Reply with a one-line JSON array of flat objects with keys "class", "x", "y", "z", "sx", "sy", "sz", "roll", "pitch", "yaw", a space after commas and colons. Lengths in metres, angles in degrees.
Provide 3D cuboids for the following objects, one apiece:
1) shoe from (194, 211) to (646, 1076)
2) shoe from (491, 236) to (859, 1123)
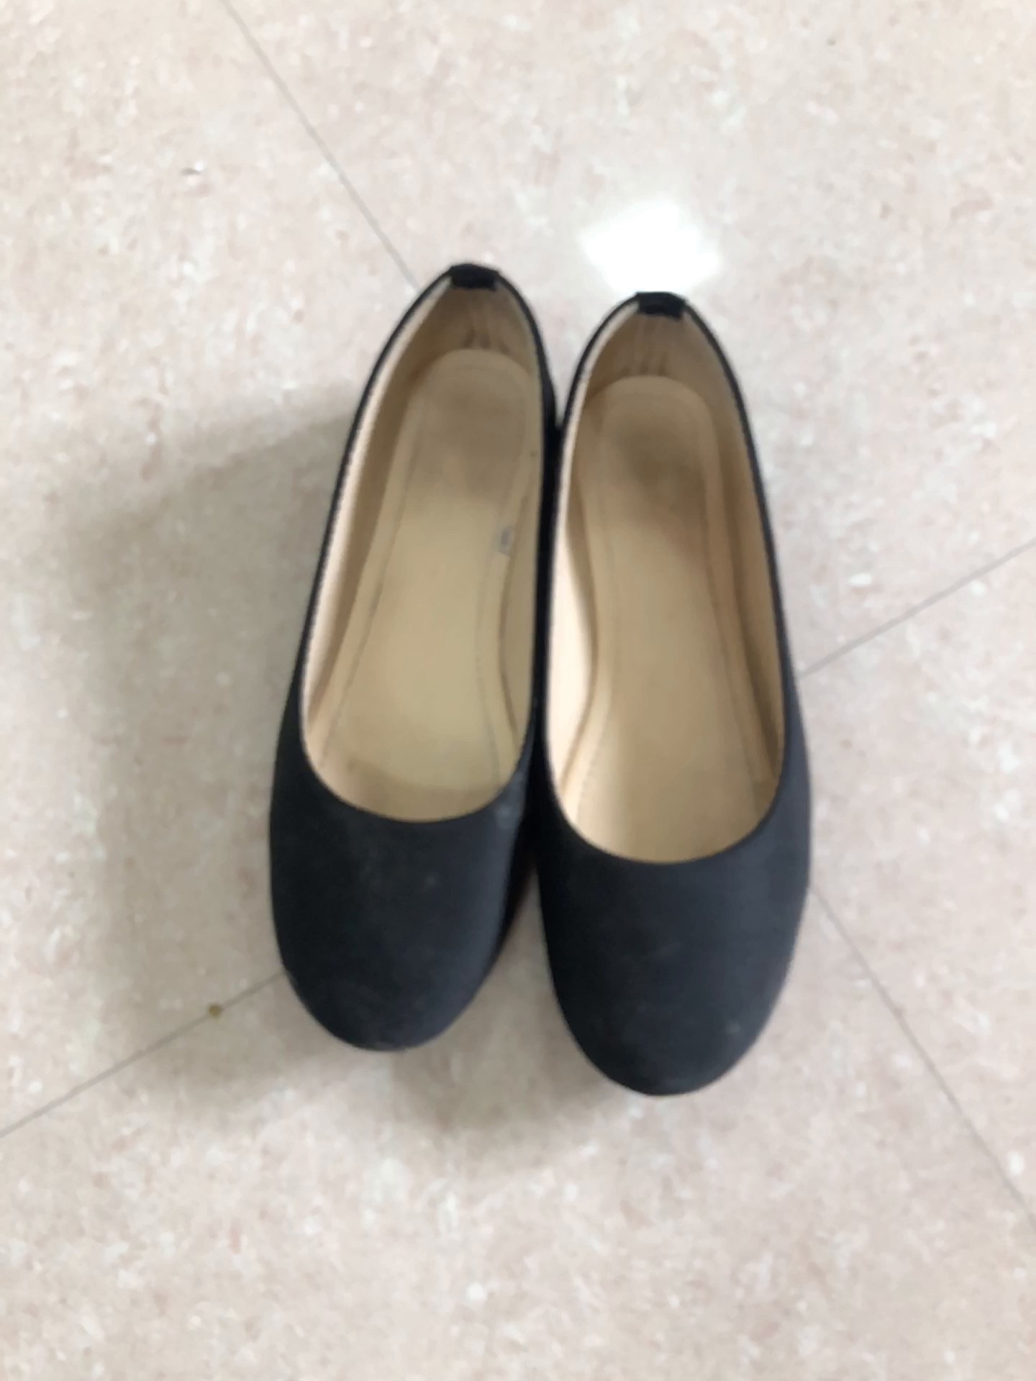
[{"class": "shoe", "x": -0.021, "y": -0.019, "z": 0.364, "sx": 0.090, "sy": 0.060, "sz": 0.250, "roll": 7, "pitch": 75, "yaw": 4}, {"class": "shoe", "x": 0.043, "y": -0.008, "z": 0.349, "sx": 0.090, "sy": 0.060, "sz": 0.250, "roll": 1, "pitch": 75, "yaw": 2}]
